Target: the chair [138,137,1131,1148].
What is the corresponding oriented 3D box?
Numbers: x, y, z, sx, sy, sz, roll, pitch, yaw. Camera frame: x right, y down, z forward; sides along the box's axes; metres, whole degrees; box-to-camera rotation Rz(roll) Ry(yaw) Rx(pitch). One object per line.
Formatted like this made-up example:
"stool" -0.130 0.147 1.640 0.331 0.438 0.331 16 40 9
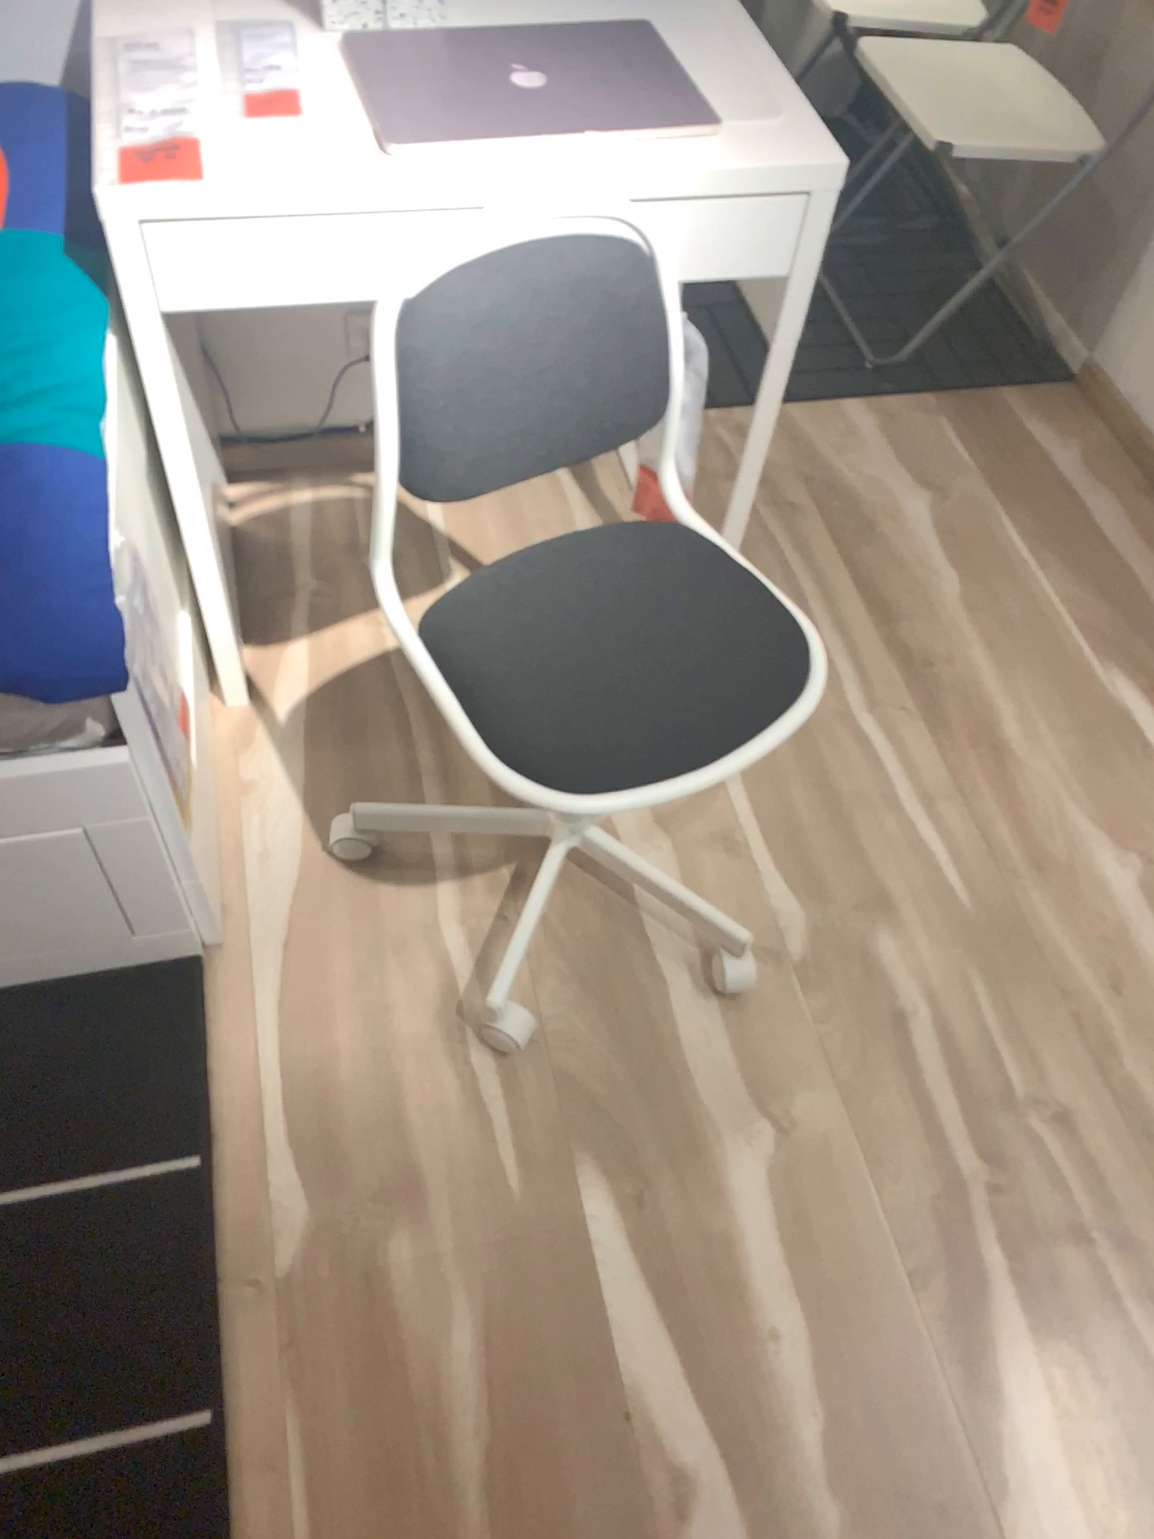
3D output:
"chair" 0.009 -0.123 1.212 0.551 0.658 0.621 -28 61 -23
